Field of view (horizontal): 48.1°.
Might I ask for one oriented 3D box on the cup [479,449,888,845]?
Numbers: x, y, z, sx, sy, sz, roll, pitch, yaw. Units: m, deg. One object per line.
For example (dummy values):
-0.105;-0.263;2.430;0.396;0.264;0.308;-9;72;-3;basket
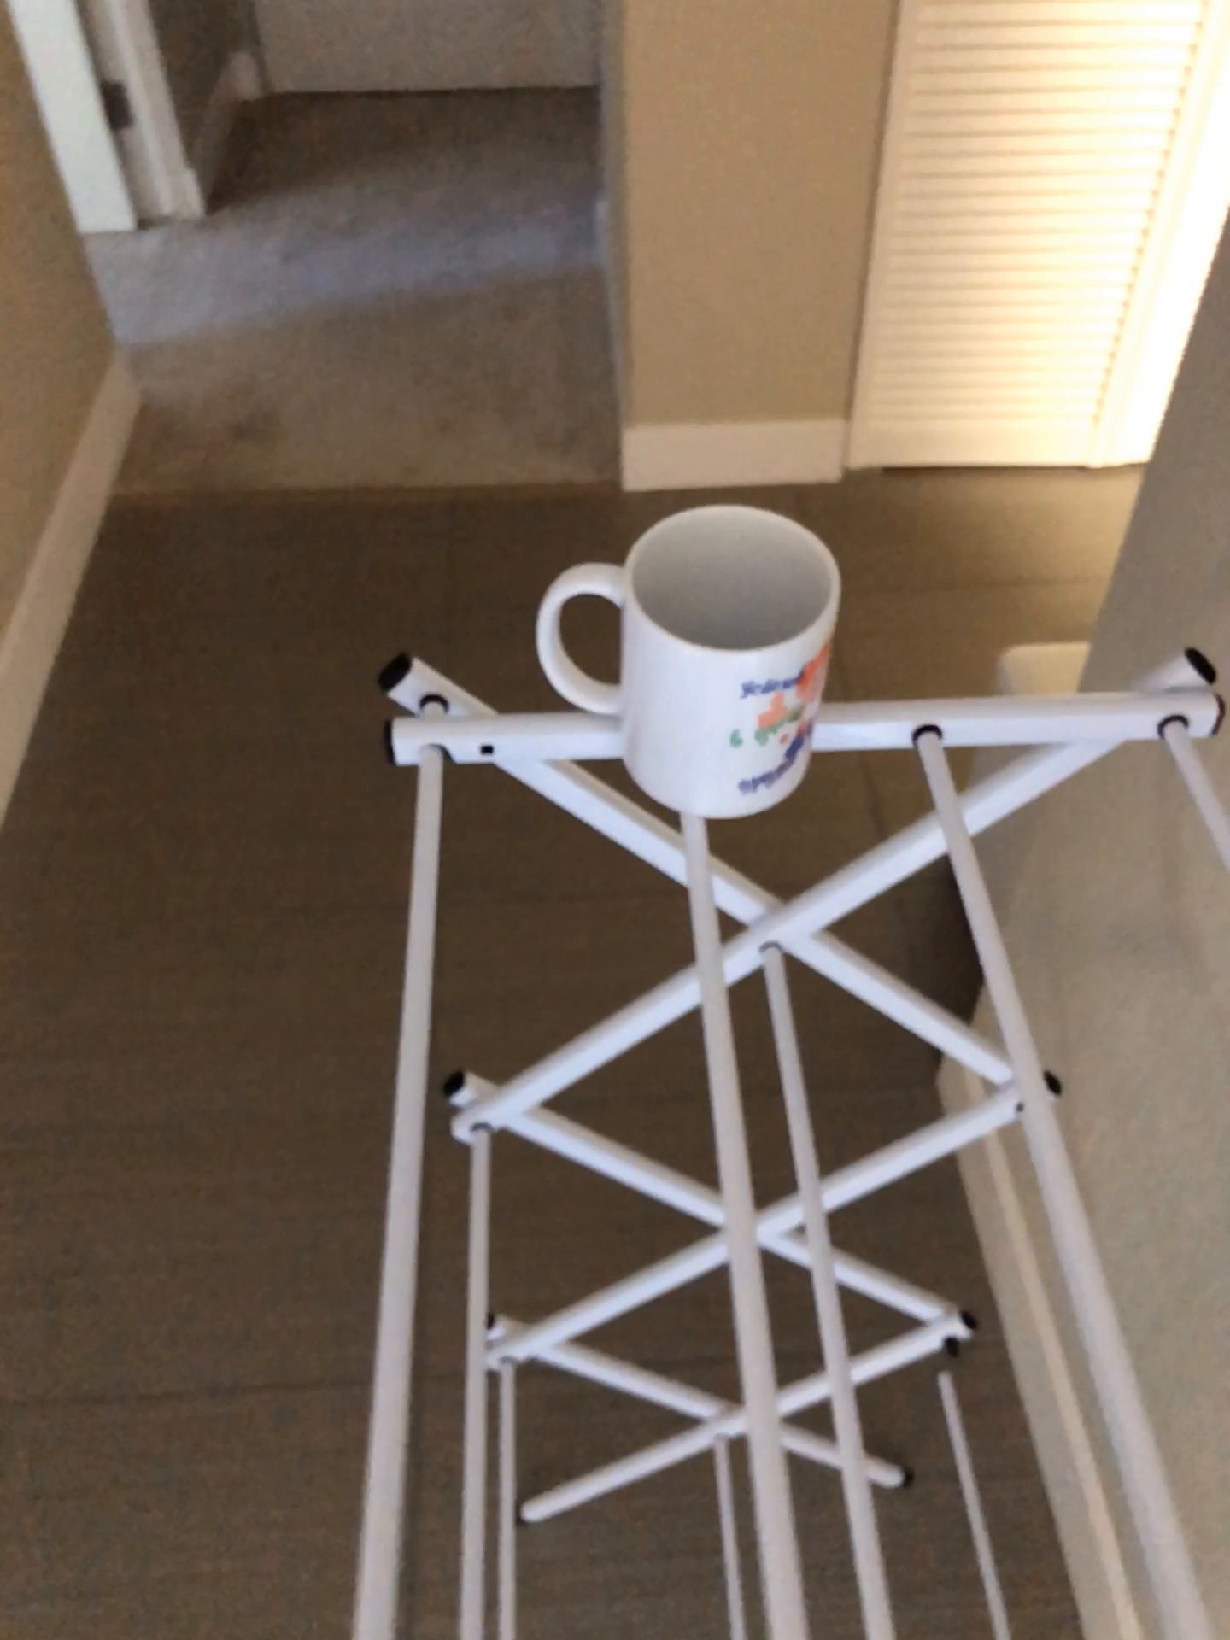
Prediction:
0.027;-0.069;0.544;0.130;0.090;0.090;16;53;11;cup
